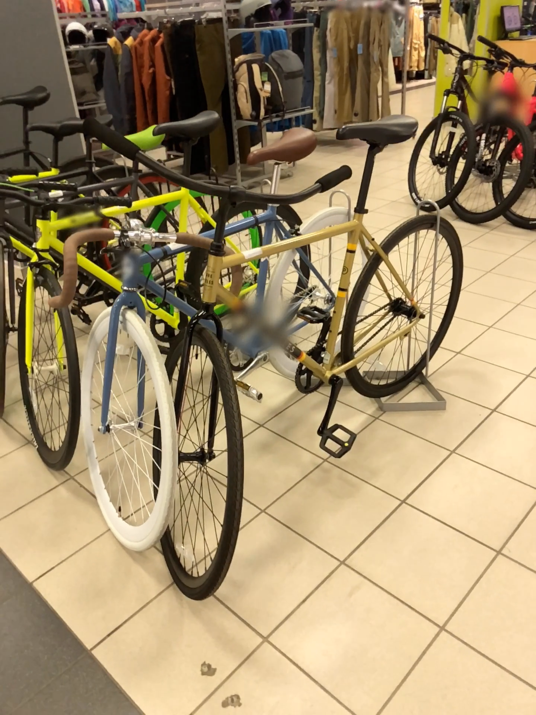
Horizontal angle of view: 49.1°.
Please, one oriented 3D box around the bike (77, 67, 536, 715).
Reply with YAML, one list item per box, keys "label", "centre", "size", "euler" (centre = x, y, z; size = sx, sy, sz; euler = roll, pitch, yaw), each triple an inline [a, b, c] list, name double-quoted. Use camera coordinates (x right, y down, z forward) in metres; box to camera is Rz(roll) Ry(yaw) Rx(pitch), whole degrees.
- label: "bike"
  centre: [0.294, -0.049, 1.693]
  size: [0.673, 1.091, 1.469]
  euler: [15, 39, 31]
